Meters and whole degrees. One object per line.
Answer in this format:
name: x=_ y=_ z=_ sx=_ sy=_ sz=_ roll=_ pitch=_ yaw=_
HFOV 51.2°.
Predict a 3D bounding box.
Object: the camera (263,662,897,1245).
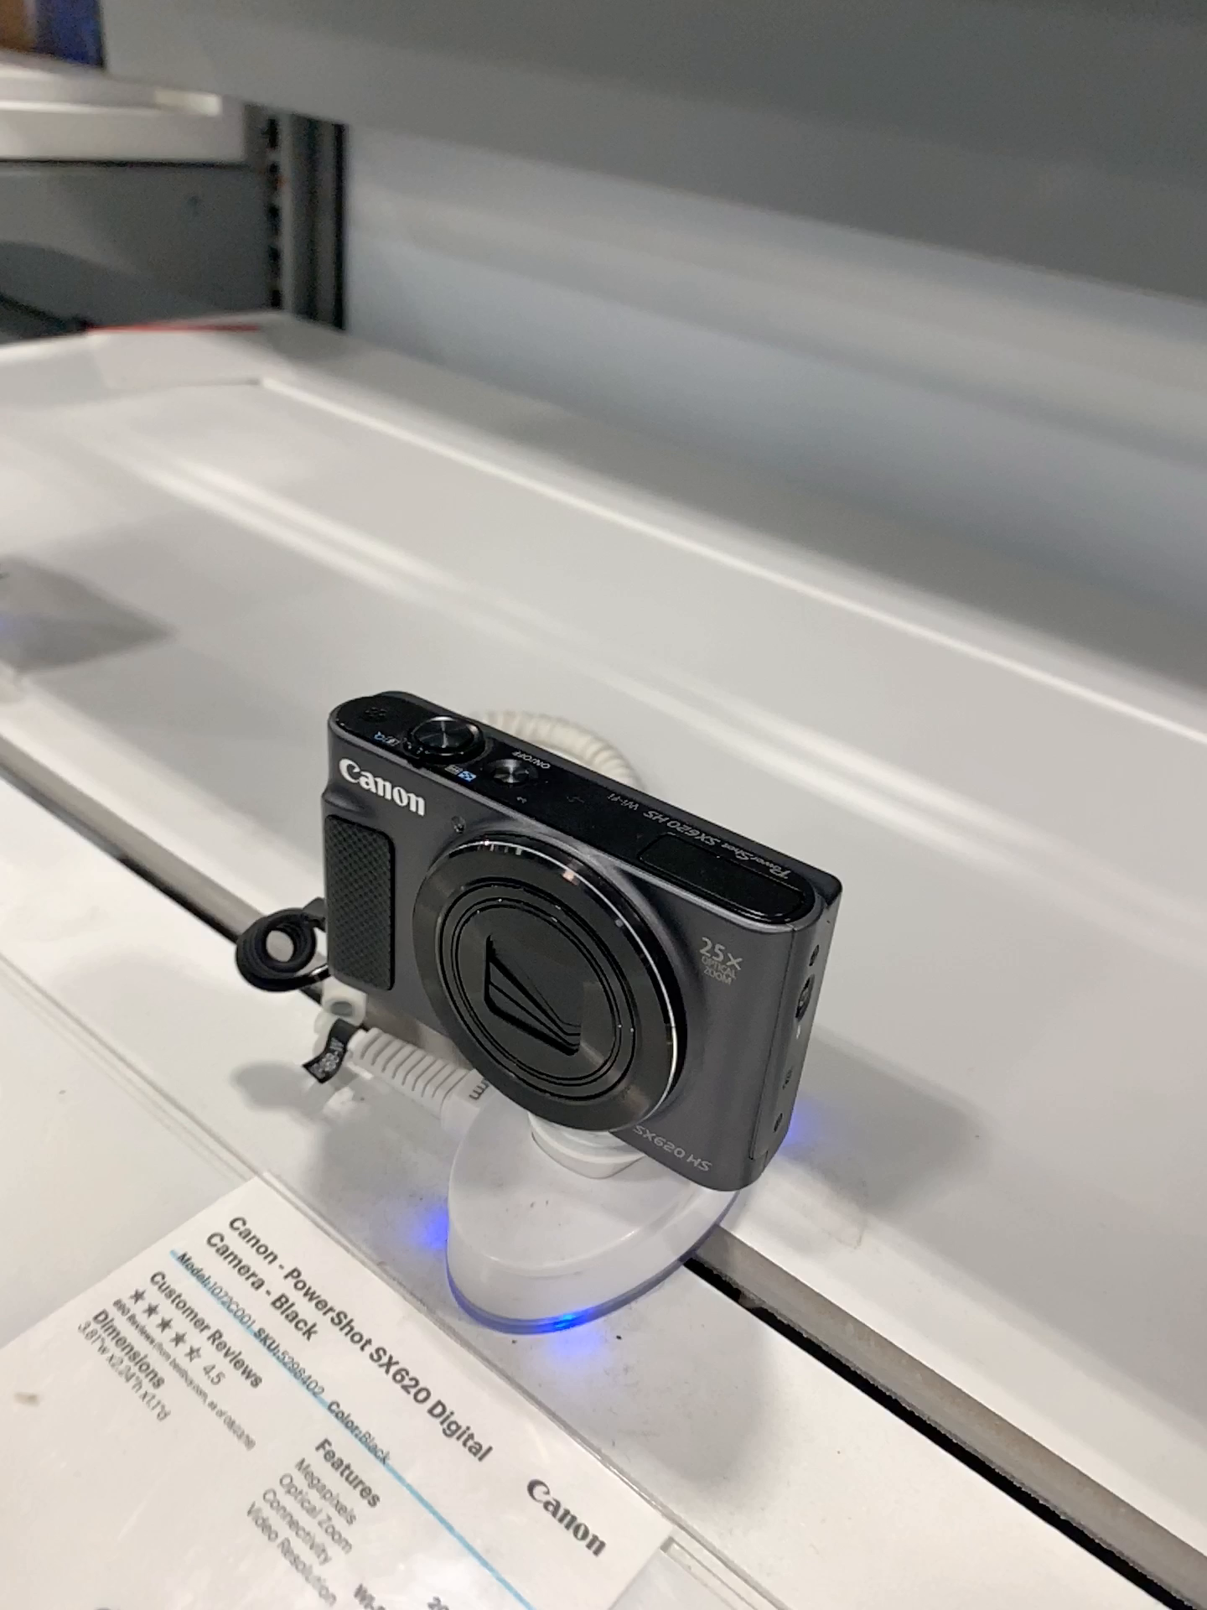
camera: x=-0.009 y=0.020 z=0.210 sx=0.100 sy=0.050 sz=0.031 roll=25 pitch=35 yaw=24
